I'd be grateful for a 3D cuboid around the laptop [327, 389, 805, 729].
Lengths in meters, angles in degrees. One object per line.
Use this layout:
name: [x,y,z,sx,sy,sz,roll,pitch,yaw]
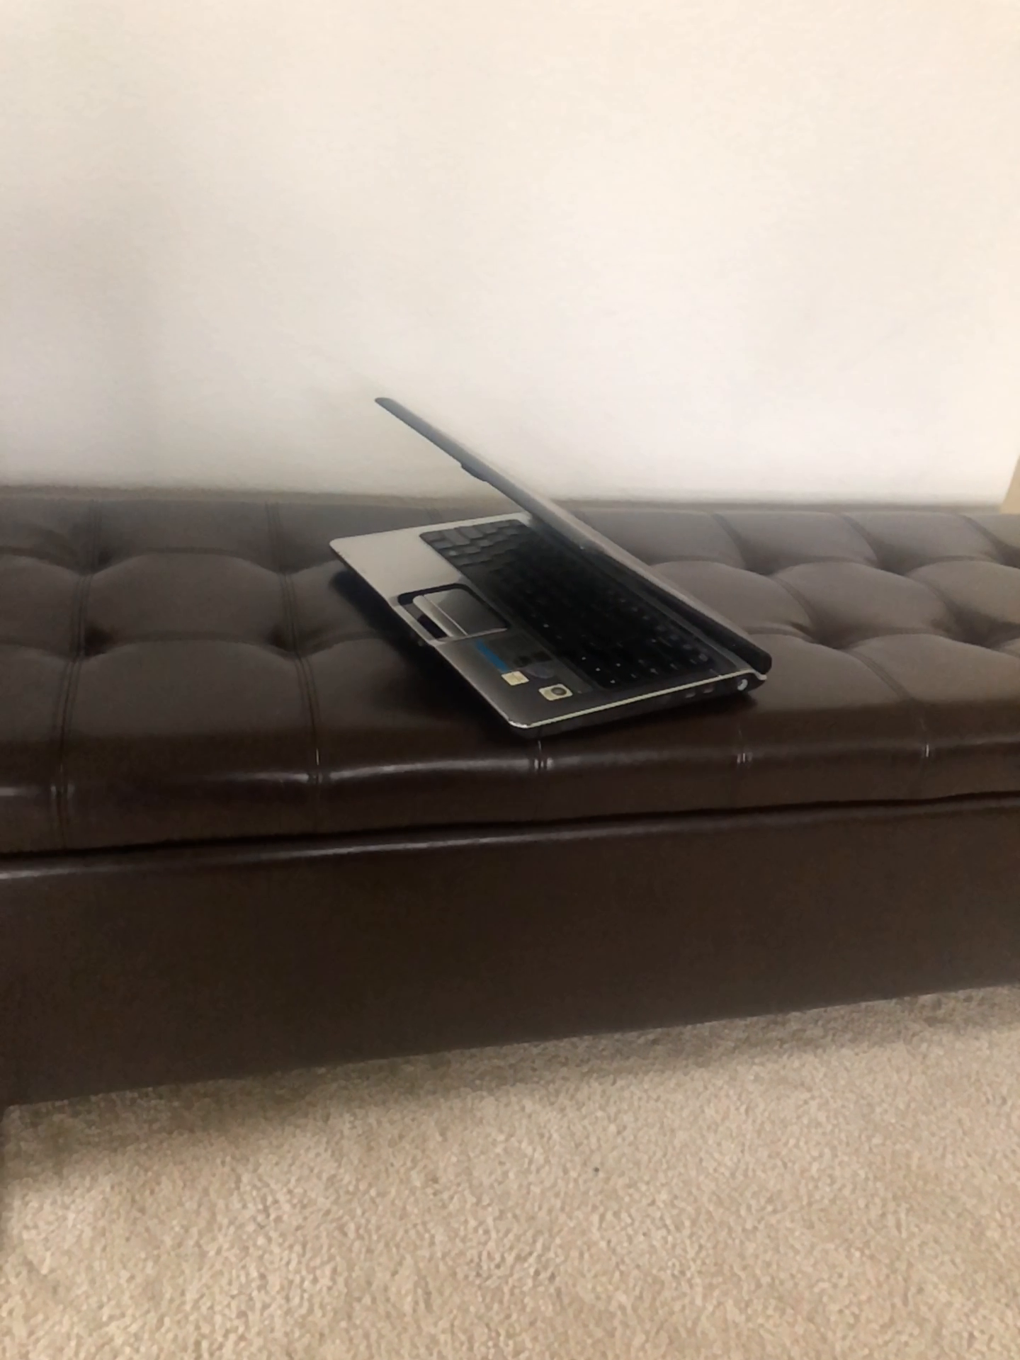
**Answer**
laptop: [0.025,-0.120,0.895,0.230,0.122,0.334,-11,34,-29]
